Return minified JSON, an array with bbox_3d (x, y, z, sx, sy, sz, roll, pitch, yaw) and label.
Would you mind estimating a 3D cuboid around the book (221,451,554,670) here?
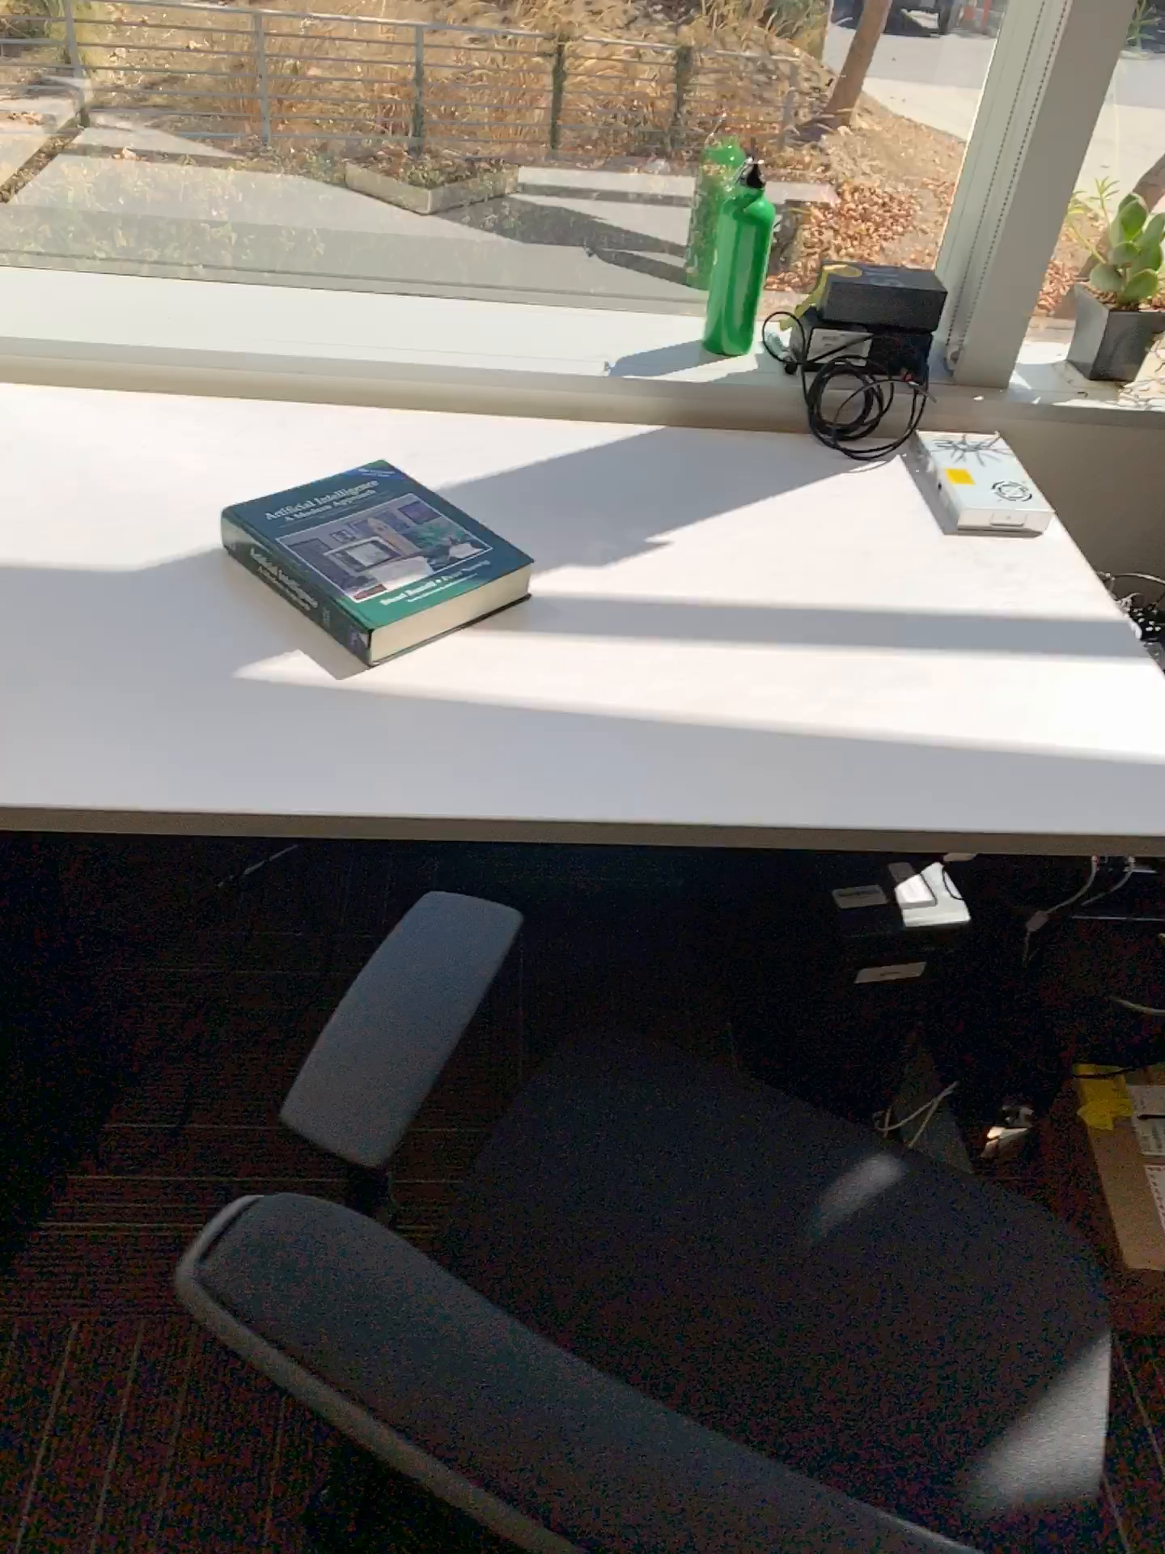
[{"bbox_3d":[-0.204,-0.237,1.248,0.230,0.050,0.261,-30,53,-34],"label":"book"}]
